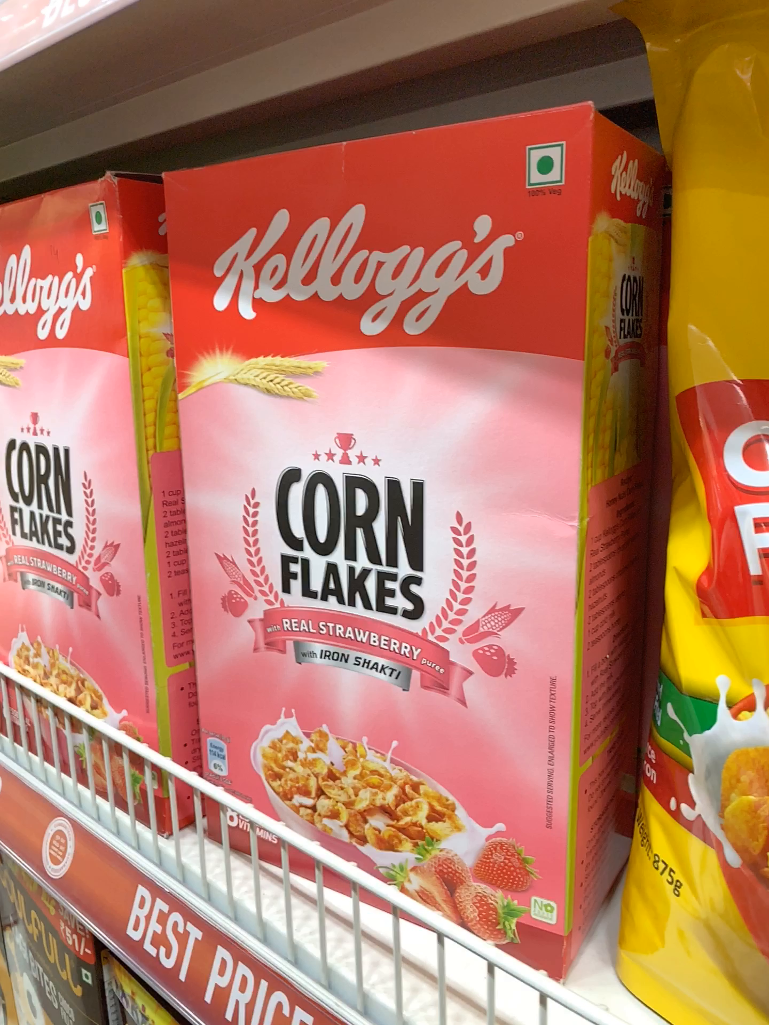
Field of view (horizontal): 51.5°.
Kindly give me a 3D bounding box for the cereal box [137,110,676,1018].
[{"bbox_3d":[0.008,0.013,0.310,0.170,0.269,0.090,6,13,31],"label":"cereal box"}]
